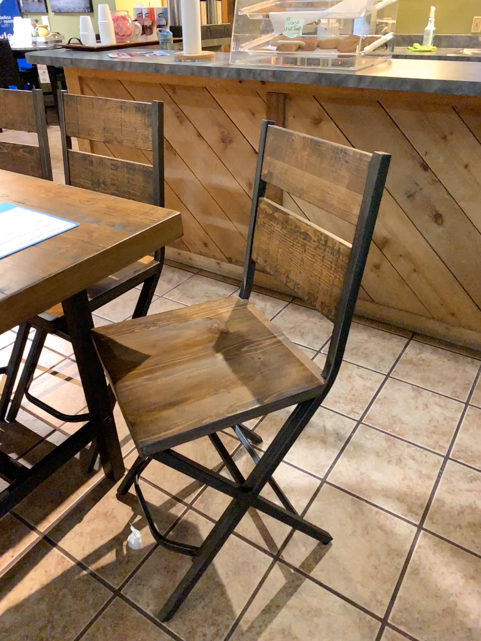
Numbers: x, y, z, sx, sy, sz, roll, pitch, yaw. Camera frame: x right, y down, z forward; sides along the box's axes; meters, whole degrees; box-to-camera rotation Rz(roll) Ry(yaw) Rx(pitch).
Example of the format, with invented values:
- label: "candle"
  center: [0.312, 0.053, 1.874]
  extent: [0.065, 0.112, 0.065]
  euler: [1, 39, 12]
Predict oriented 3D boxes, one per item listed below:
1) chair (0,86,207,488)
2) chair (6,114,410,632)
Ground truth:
- label: "chair"
  center: [-0.523, -0.120, 1.541]
  extent: [0.493, 1.003, 0.617]
  euler: [19, 40, 28]
- label: "chair"
  center: [-0.053, 0.118, 1.141]
  extent: [0.616, 0.983, 0.444]
  euler: [-17, 34, -18]
